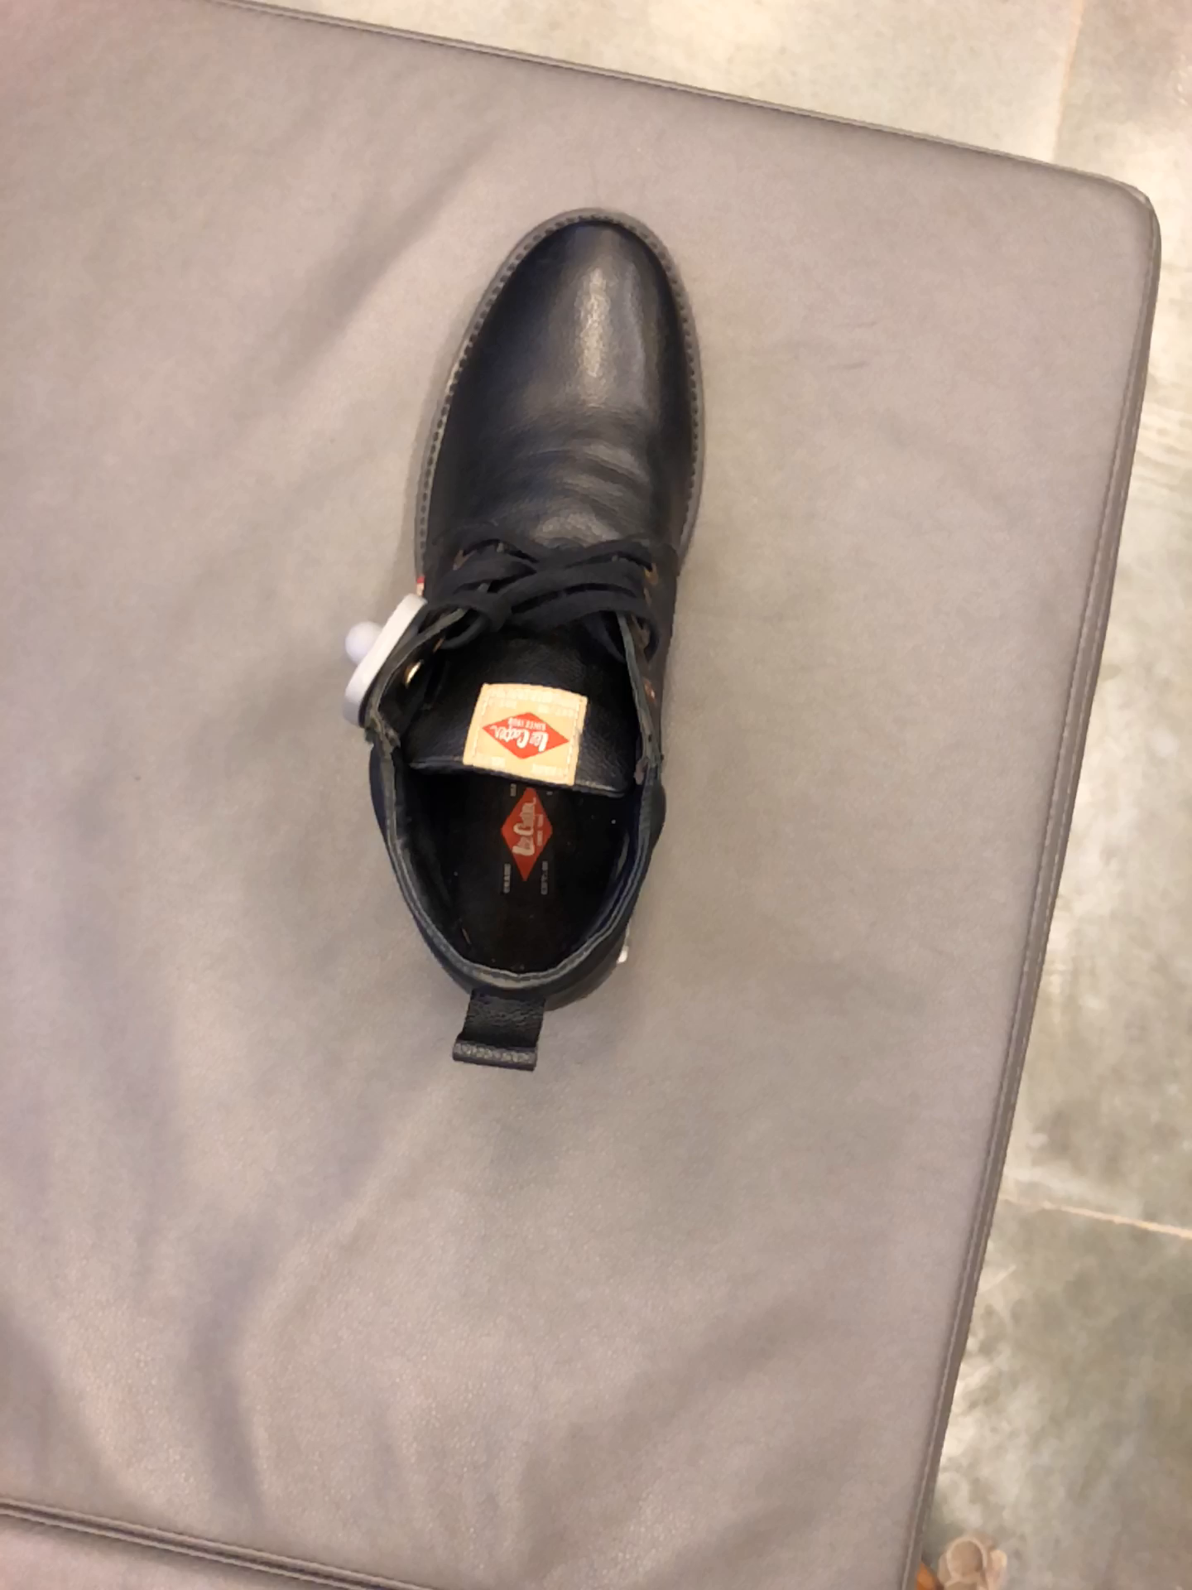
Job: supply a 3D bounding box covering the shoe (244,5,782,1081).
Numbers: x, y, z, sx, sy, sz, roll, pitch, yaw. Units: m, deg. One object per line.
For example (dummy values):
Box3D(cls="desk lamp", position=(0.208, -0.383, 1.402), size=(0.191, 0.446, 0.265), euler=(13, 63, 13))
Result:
Box3D(cls="shoe", position=(-0.020, -0.066, 0.428), size=(0.111, 0.149, 0.284), euler=(6, 84, 0))
